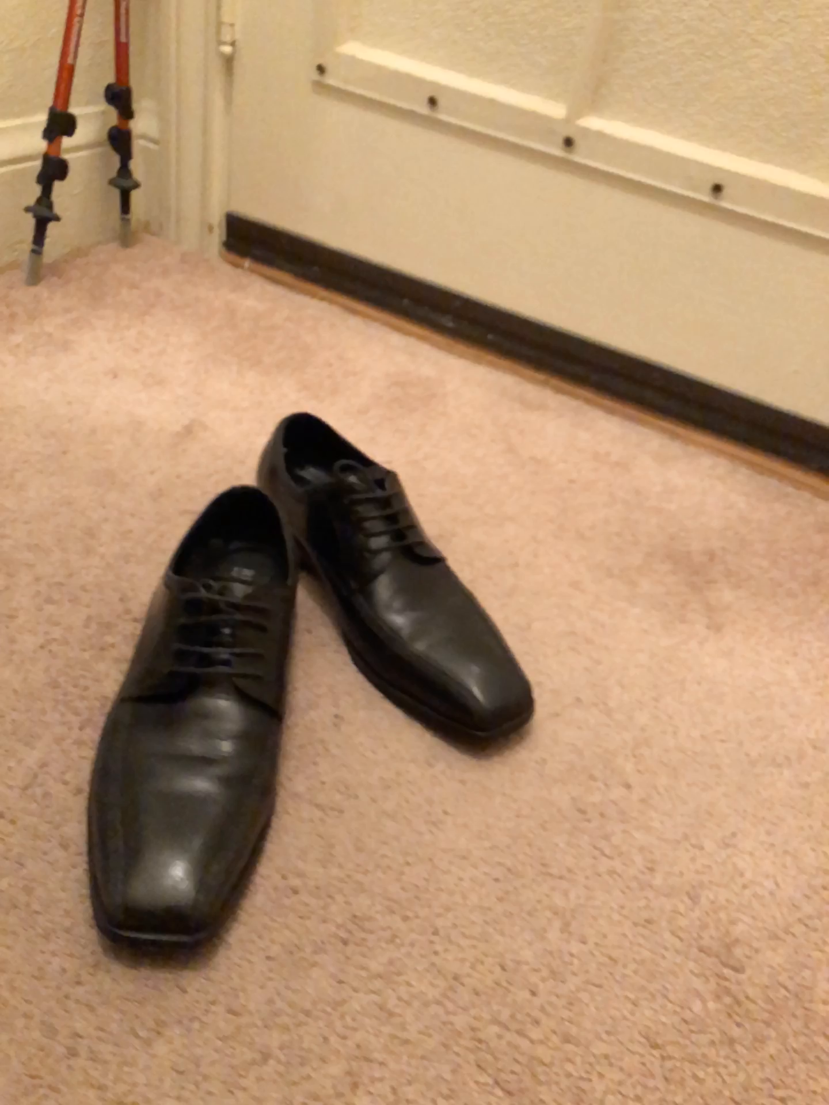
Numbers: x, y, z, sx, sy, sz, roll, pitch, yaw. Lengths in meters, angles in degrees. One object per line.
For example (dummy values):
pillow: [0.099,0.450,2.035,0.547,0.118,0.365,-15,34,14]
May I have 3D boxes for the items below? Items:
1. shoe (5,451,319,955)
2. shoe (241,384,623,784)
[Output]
shoe: [-0.128,0.069,0.542,0.110,0.107,0.284,7,38,-5]
shoe: [-0.006,0.005,0.675,0.115,0.110,0.297,-17,46,-32]
